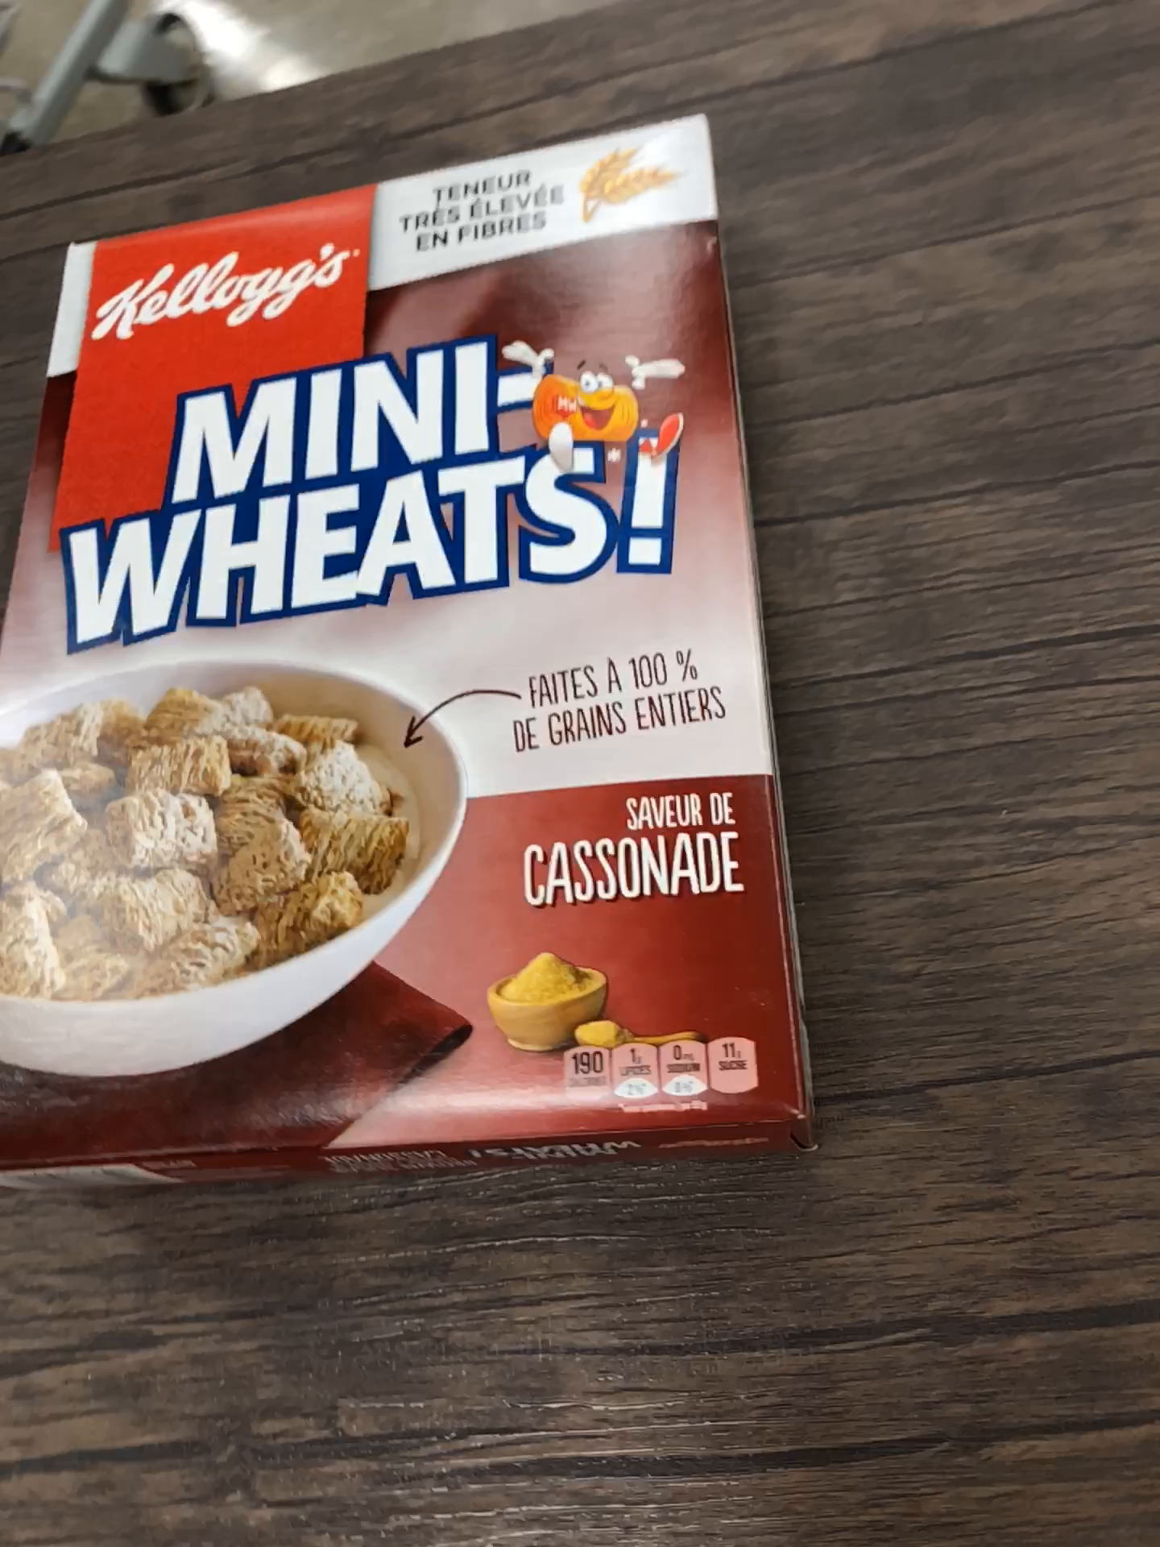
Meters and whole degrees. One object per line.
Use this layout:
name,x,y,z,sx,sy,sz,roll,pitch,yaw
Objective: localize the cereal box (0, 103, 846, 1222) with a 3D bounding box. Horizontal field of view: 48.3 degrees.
cereal box,-0.055,-0.031,0.327,0.210,0.060,0.260,-6,66,10
